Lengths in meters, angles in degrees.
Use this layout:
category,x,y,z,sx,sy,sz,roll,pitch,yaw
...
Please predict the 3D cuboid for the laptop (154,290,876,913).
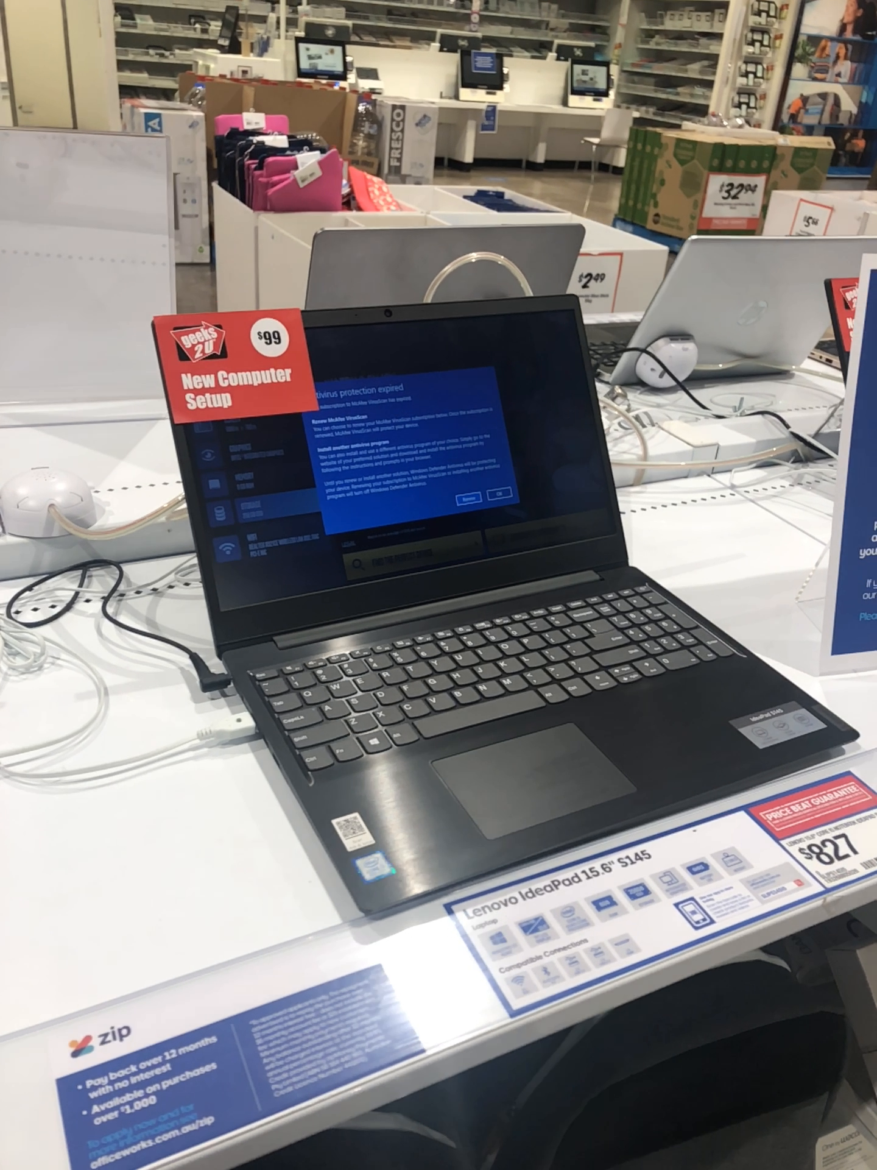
category,x,y,z,sx,sy,sz,roll,pitch,yaw
laptop,0.041,-0.043,0.646,0.353,0.192,0.370,-11,34,-26
